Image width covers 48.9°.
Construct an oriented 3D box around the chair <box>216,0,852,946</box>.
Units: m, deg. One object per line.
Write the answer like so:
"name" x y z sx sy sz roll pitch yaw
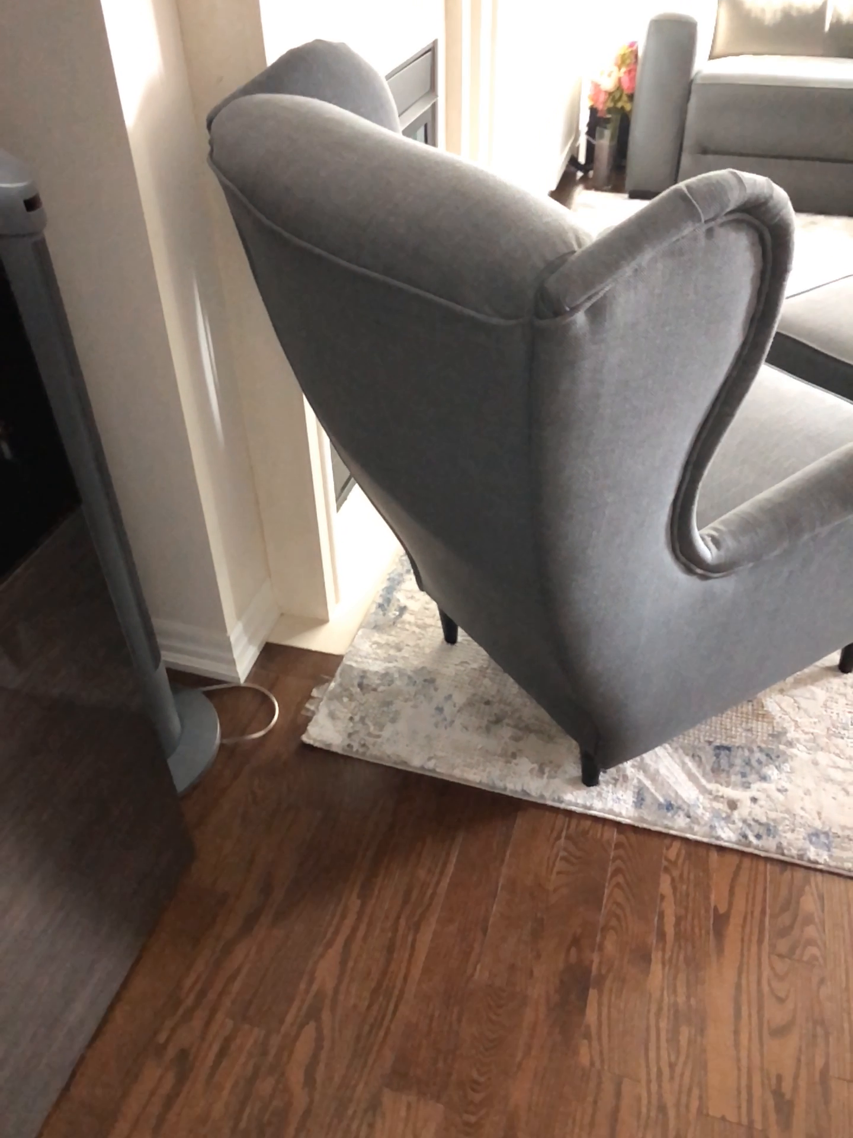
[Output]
"chair" 0.330 -0.243 1.375 0.851 0.966 0.802 -25 44 -26
